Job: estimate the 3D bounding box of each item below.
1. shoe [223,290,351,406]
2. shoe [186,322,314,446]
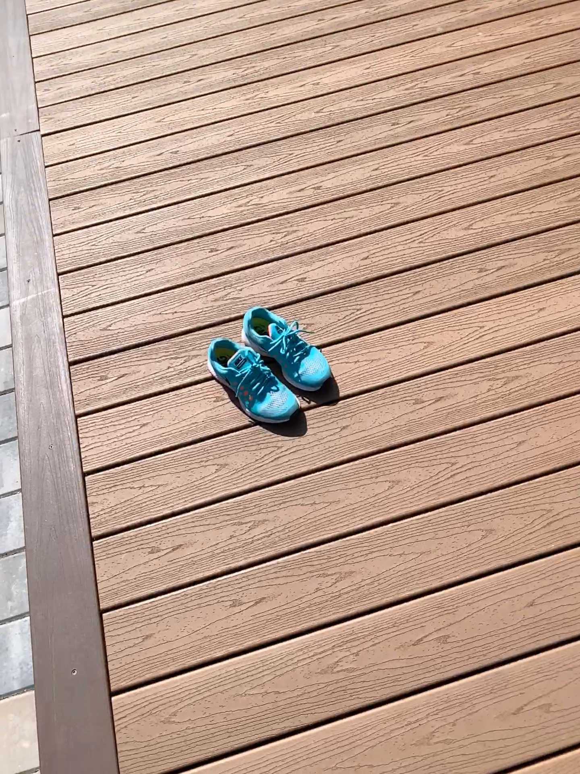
[{"bbox_3d":[-0.006,-0.087,1.273,0.261,0.080,0.110,35,70,22],"label":"shoe"},{"bbox_3d":[-0.085,-0.010,1.245,0.261,0.080,0.110,38,71,23],"label":"shoe"}]
